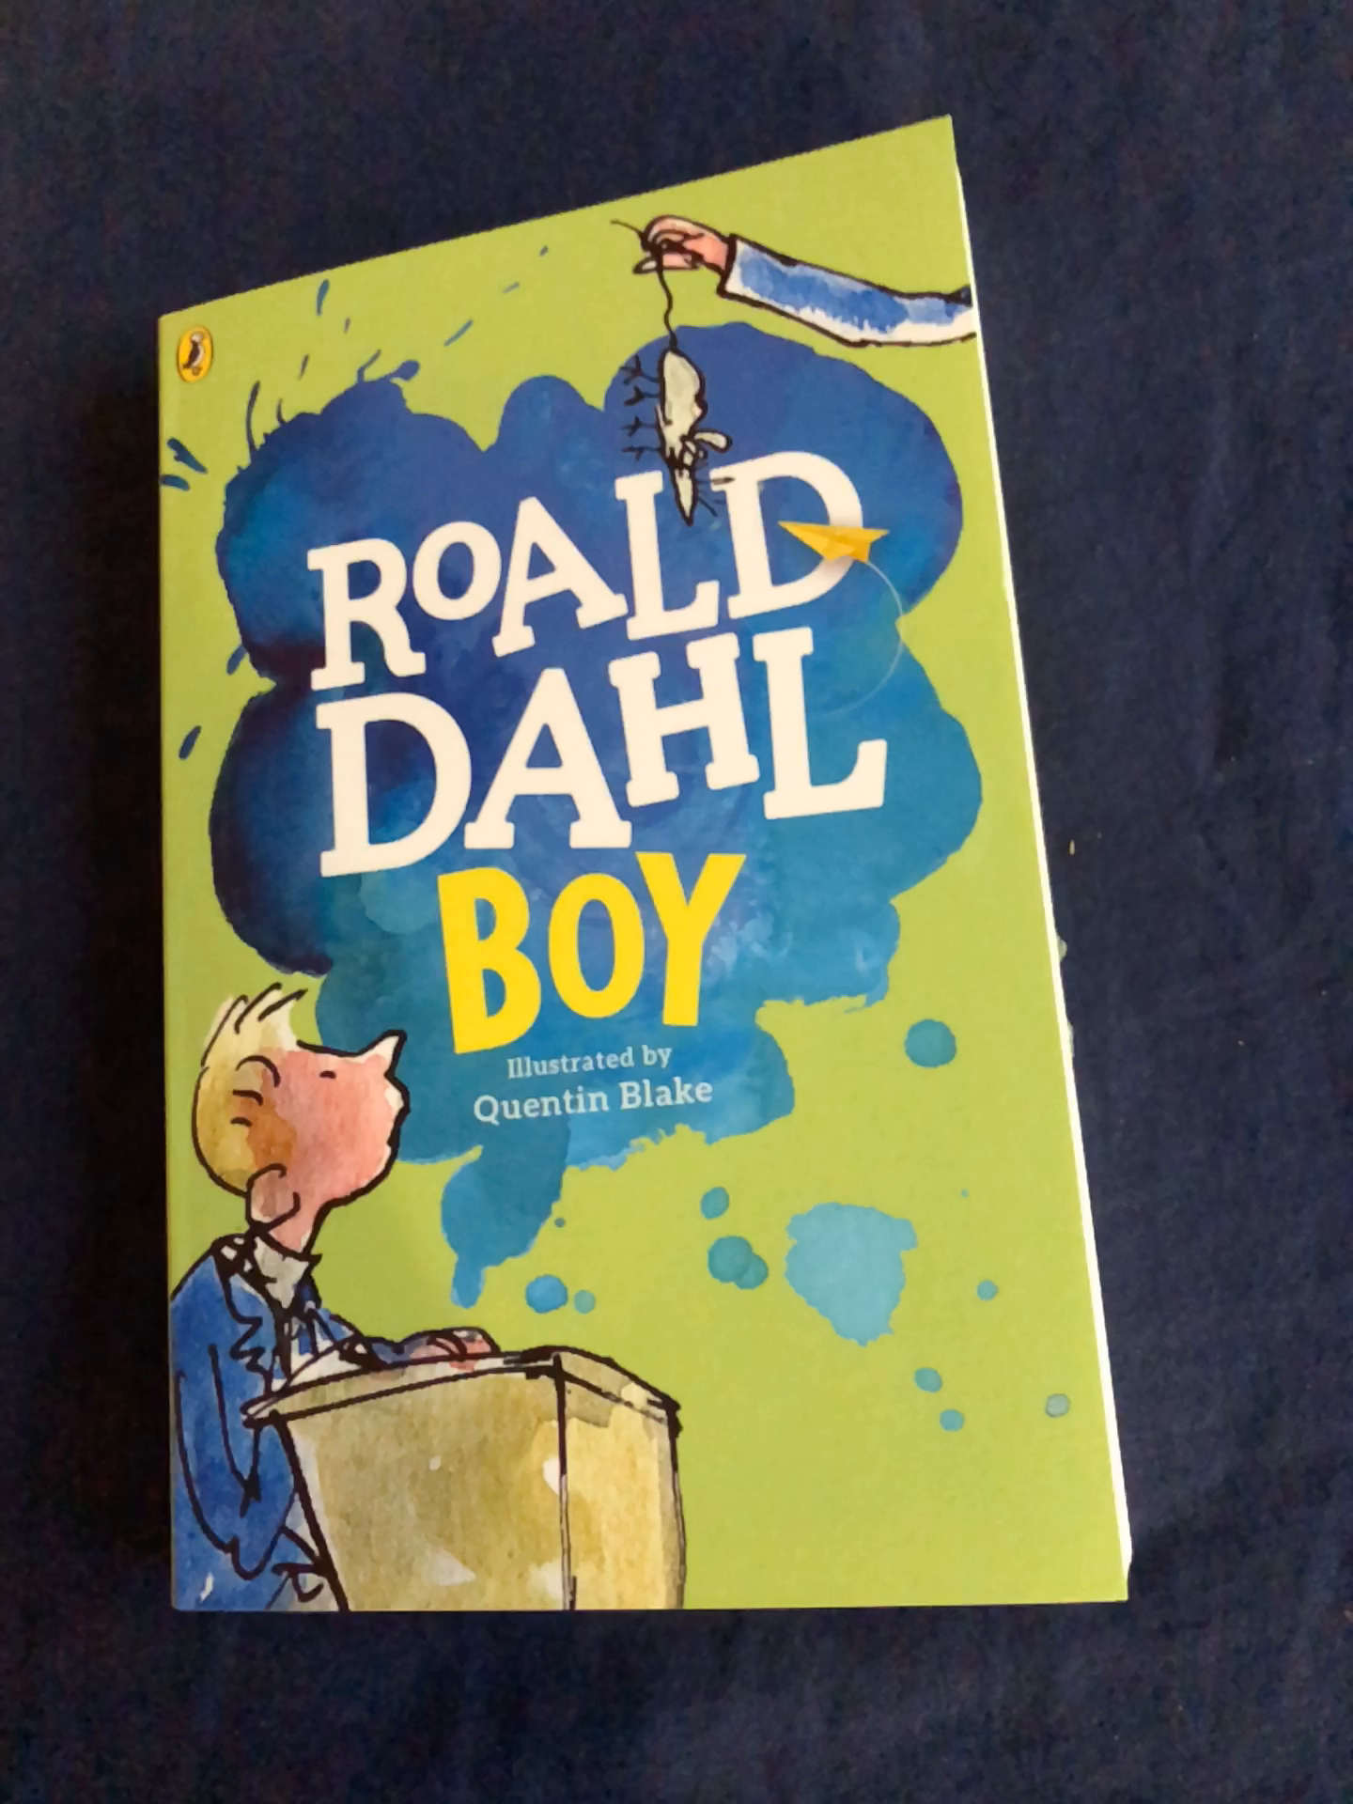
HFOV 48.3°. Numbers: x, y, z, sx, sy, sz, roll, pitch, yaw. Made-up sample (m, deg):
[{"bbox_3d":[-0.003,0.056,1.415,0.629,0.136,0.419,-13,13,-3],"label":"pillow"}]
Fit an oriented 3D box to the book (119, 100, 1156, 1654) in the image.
[{"bbox_3d":[-0.012,-0.002,0.208,0.125,0.027,0.189,-6,81,13],"label":"book"}]
